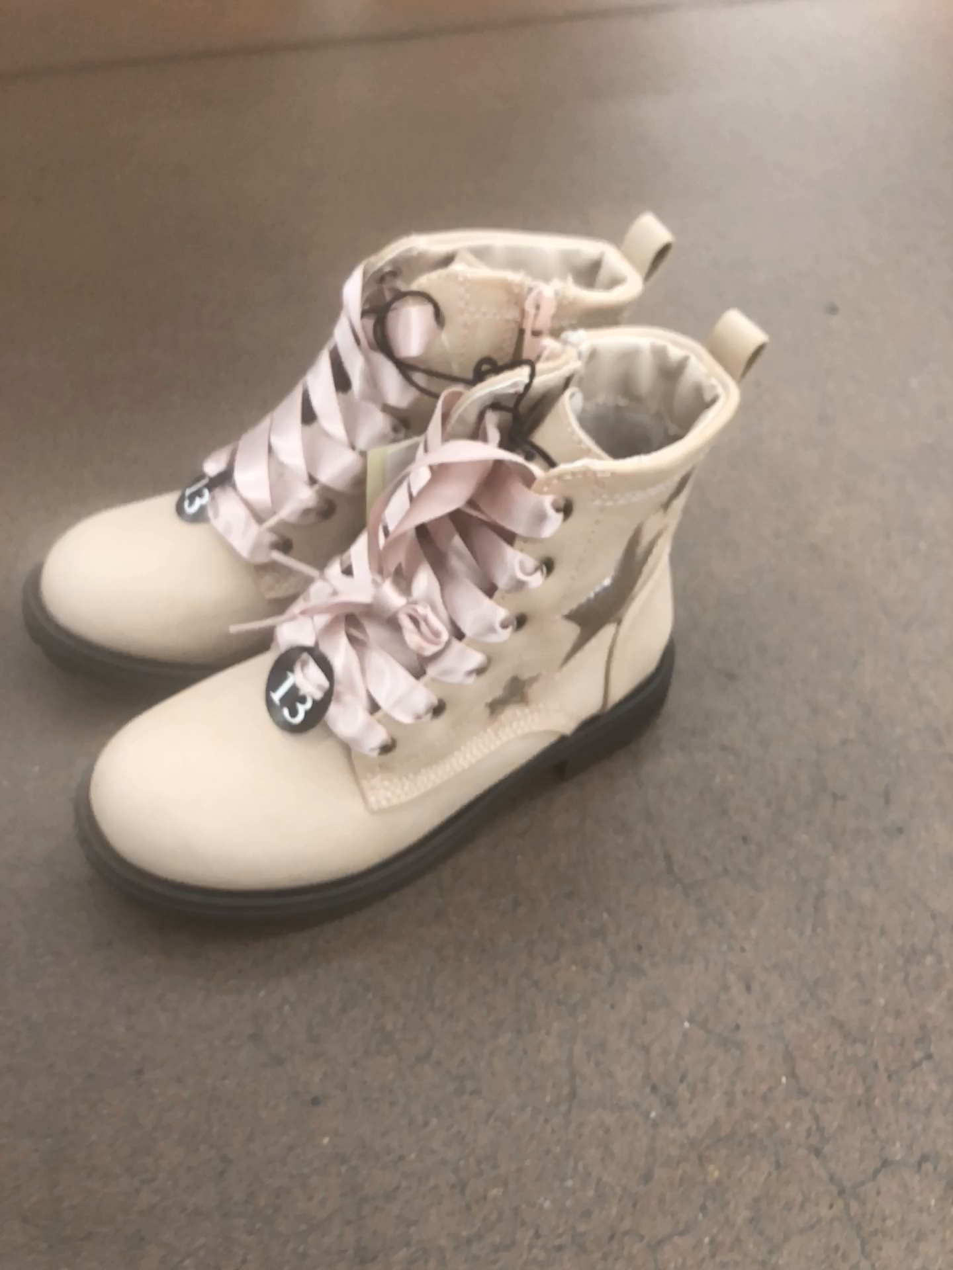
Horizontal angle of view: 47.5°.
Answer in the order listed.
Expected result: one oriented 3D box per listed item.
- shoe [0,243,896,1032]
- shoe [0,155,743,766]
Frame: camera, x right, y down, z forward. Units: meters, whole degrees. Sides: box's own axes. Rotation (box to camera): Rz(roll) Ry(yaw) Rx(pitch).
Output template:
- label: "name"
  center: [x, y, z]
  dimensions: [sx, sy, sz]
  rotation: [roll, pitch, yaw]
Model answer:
- label: "shoe"
  center: [-0.018, -0.001, 0.315]
  dimensions: [0.220, 0.150, 0.090]
  rotation: [-20, 56, -21]
- label: "shoe"
  center: [-0.046, -0.059, 0.371]
  dimensions: [0.220, 0.150, 0.090]
  rotation: [-13, 54, -16]
